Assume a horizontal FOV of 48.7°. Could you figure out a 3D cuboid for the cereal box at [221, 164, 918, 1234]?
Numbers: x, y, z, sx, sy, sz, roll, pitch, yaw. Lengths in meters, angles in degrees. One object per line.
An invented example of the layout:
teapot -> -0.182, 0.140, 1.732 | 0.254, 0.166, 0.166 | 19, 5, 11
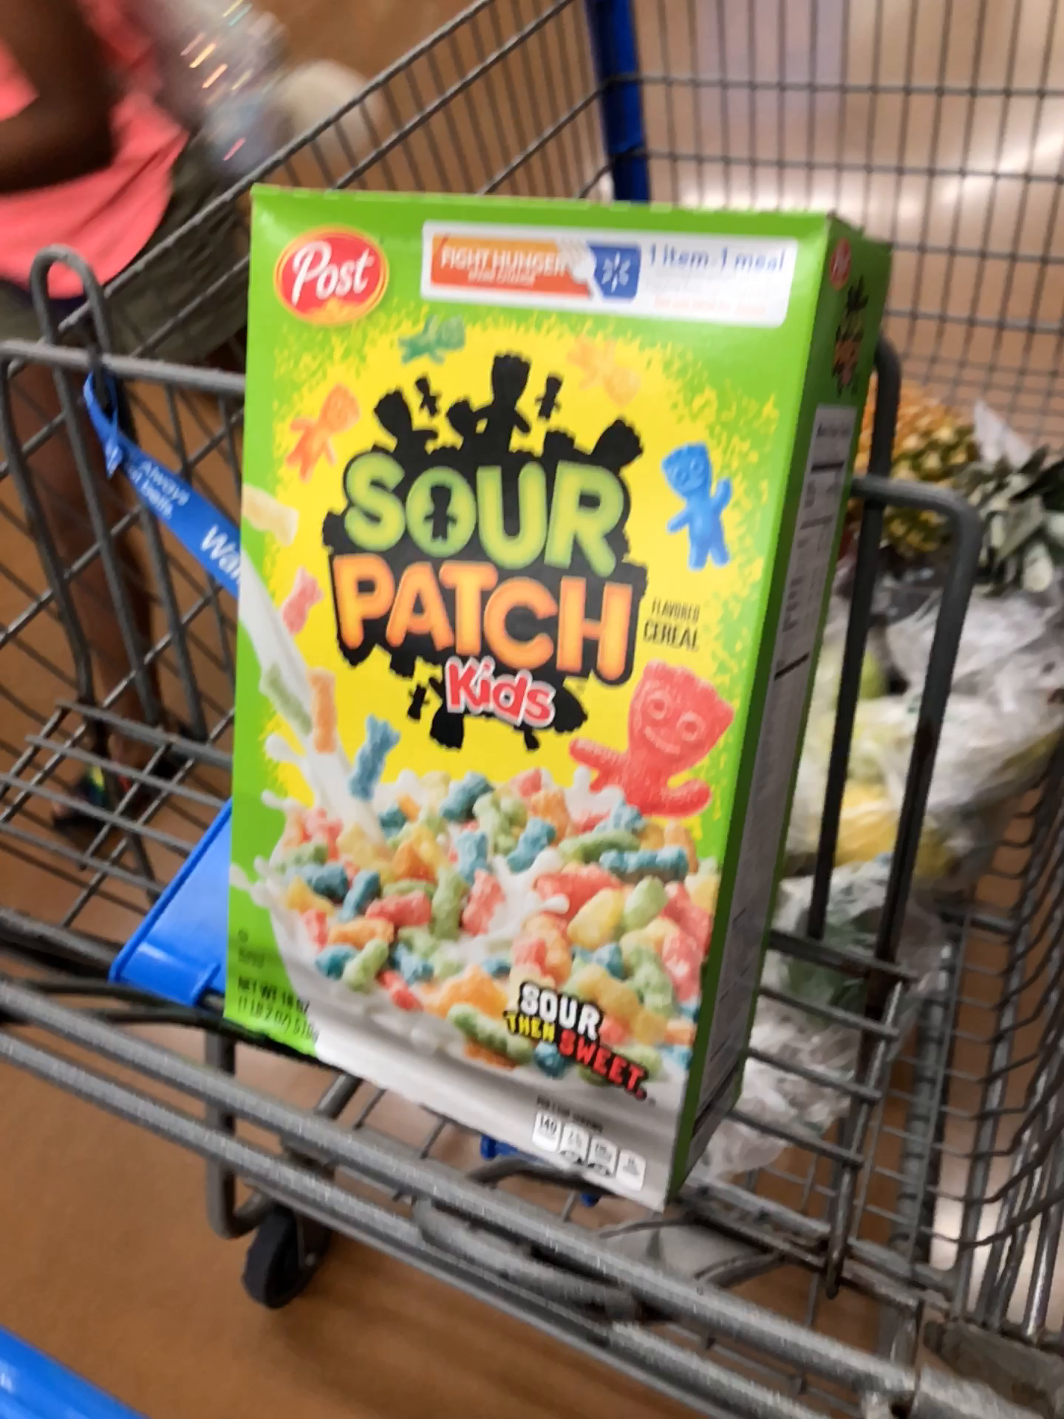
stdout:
cereal box -> -0.003, -0.011, 0.418 | 0.200, 0.320, 0.080 | 14, 19, 26
